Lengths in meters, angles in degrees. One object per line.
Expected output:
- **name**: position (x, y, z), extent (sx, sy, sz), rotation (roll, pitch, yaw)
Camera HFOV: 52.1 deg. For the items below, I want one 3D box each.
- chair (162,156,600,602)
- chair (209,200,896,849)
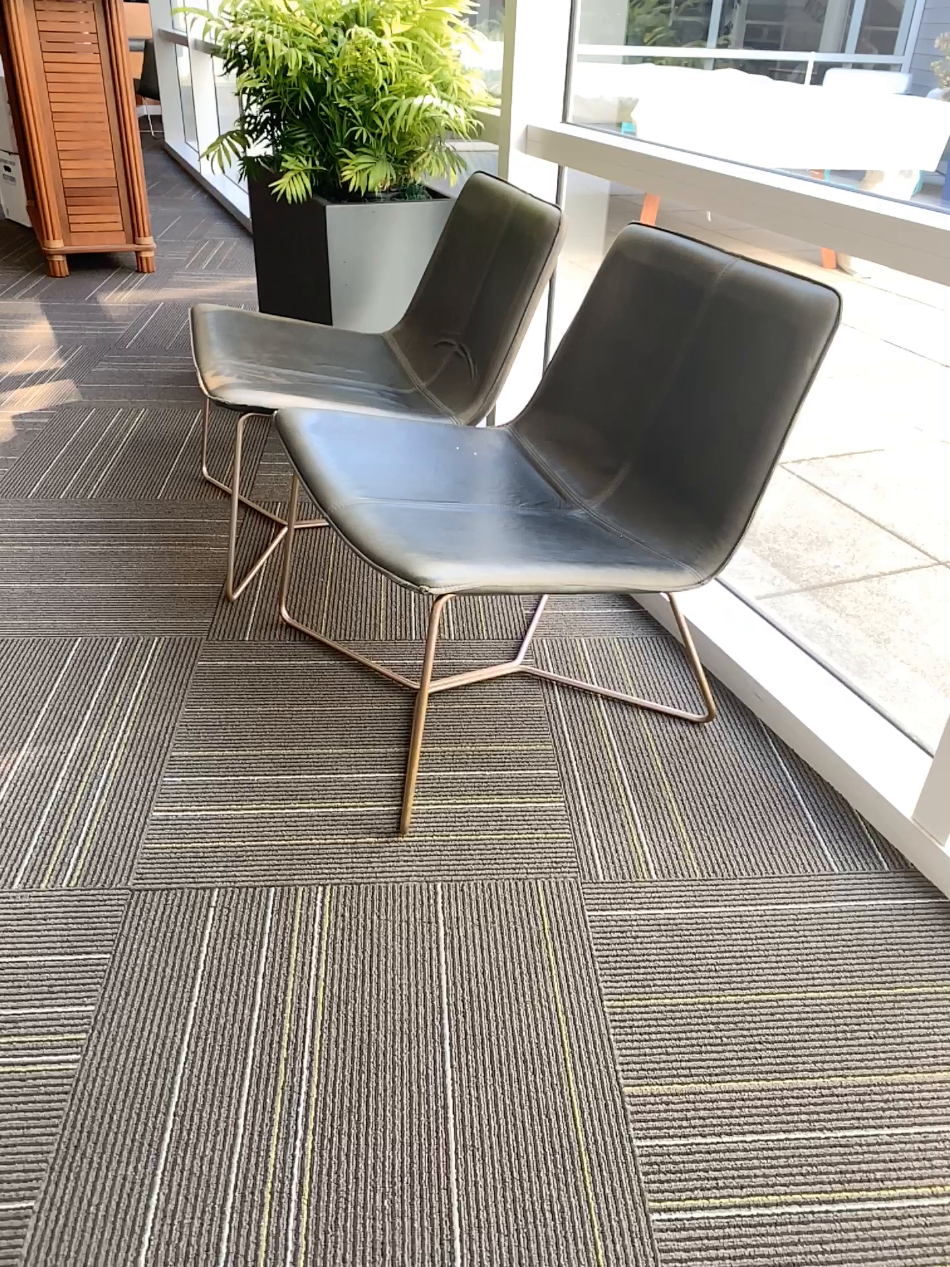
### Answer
- **chair**: position (-0.234, -0.574, 2.026), extent (0.690, 0.676, 0.704), rotation (-8, 34, -16)
- **chair**: position (0.047, -0.244, 1.520), extent (0.690, 0.676, 0.704), rotation (-13, 35, -23)
